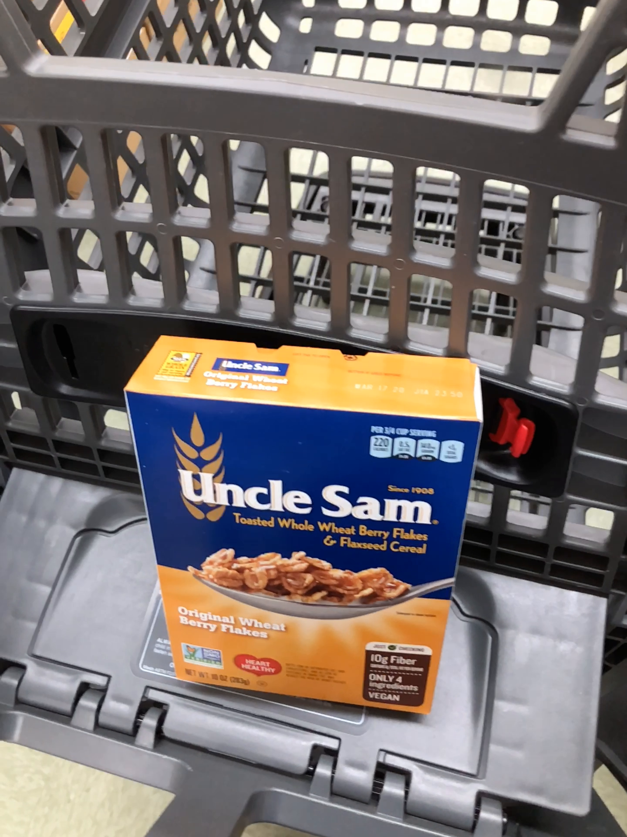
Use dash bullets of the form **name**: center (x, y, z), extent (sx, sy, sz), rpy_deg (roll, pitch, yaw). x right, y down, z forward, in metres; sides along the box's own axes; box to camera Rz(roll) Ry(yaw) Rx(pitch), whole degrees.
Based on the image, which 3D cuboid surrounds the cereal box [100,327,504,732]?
- **cereal box**: center (-0.003, 0.065, 0.352), extent (0.160, 0.210, 0.050), rpy_deg (6, 36, 8)
